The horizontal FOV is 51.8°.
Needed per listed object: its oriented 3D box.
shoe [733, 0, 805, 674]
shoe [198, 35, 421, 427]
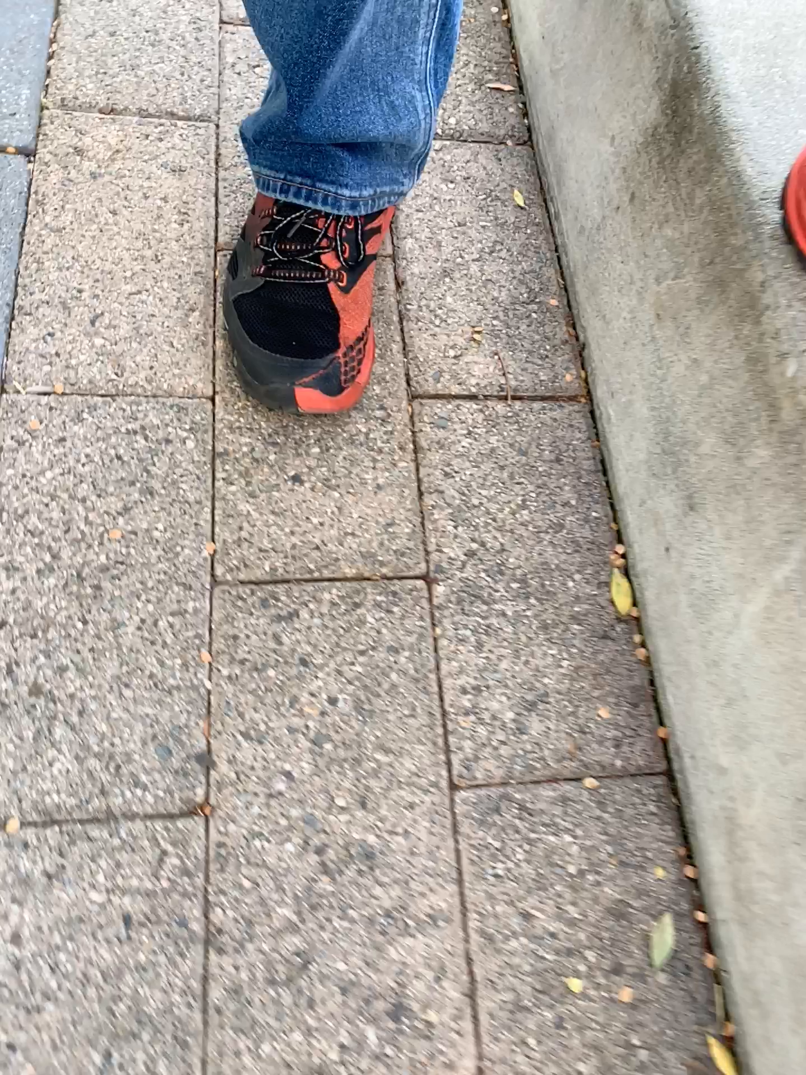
[{"bbox_3d":[0.321,-0.106,0.386,0.122,0.080,0.310,-31,73,-23],"label":"shoe"},{"bbox_3d":[-0.065,-0.244,0.644,0.136,0.080,0.306,6,62,-8],"label":"shoe"}]
